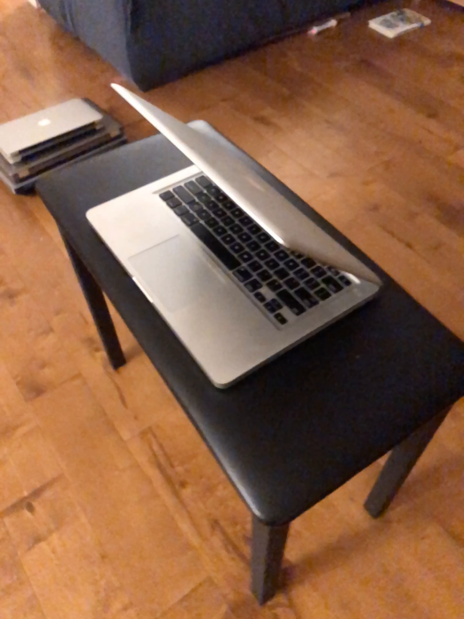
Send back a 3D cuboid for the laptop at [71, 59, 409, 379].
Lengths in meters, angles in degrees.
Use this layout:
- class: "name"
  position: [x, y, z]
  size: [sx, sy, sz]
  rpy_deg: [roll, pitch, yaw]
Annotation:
- class: "laptop"
  position: [-0.010, -0.122, 0.565]
  size: [0.209, 0.144, 0.311]
  rpy_deg: [-27, 53, -18]
